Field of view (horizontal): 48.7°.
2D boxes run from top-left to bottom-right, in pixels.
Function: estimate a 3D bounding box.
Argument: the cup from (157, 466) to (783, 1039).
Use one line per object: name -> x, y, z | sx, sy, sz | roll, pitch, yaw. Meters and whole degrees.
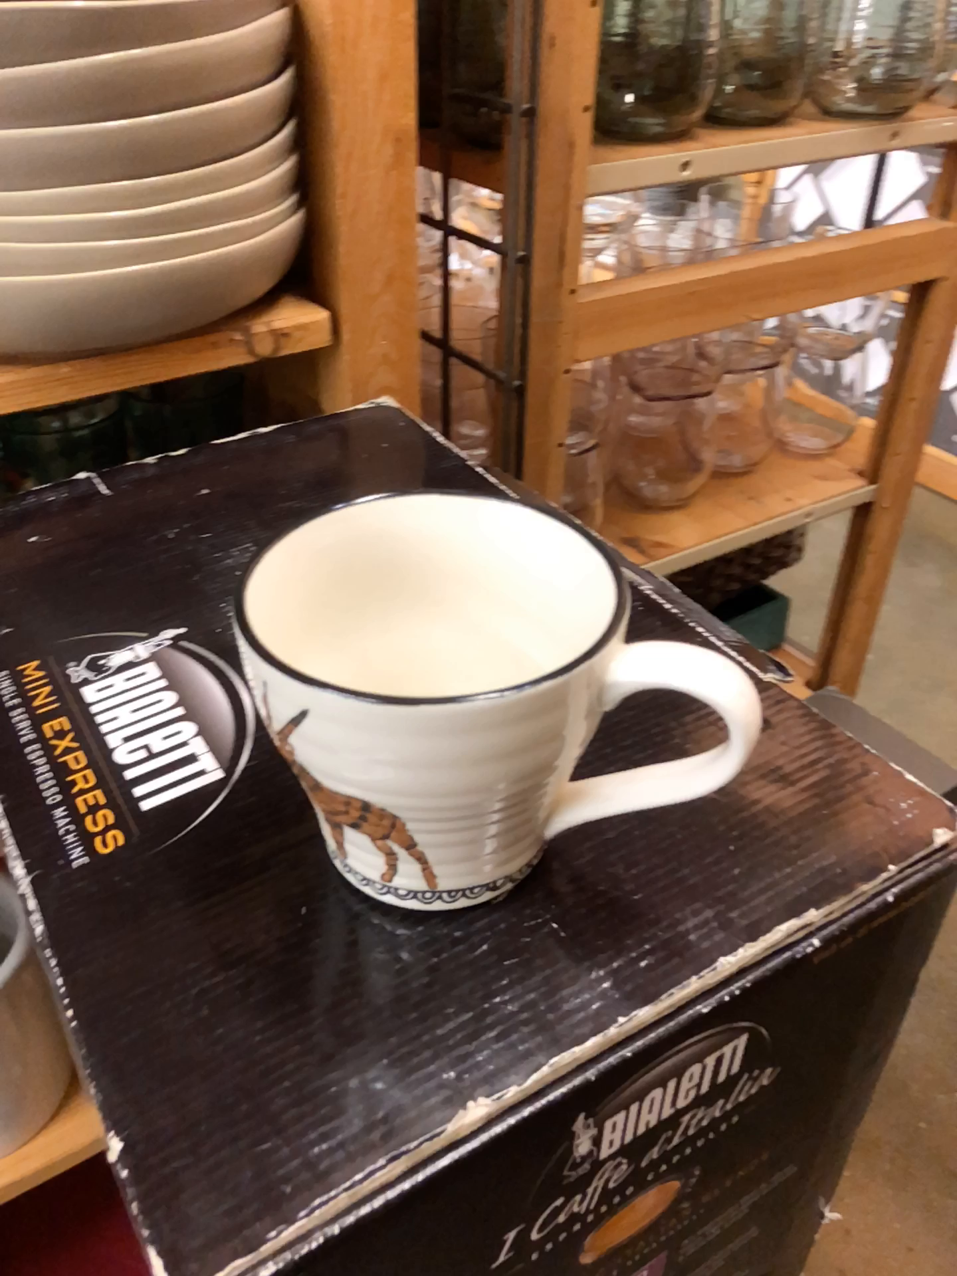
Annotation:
cup -> 0.005, 0.022, 0.282 | 0.130, 0.084, 0.102 | 10, 36, 12
